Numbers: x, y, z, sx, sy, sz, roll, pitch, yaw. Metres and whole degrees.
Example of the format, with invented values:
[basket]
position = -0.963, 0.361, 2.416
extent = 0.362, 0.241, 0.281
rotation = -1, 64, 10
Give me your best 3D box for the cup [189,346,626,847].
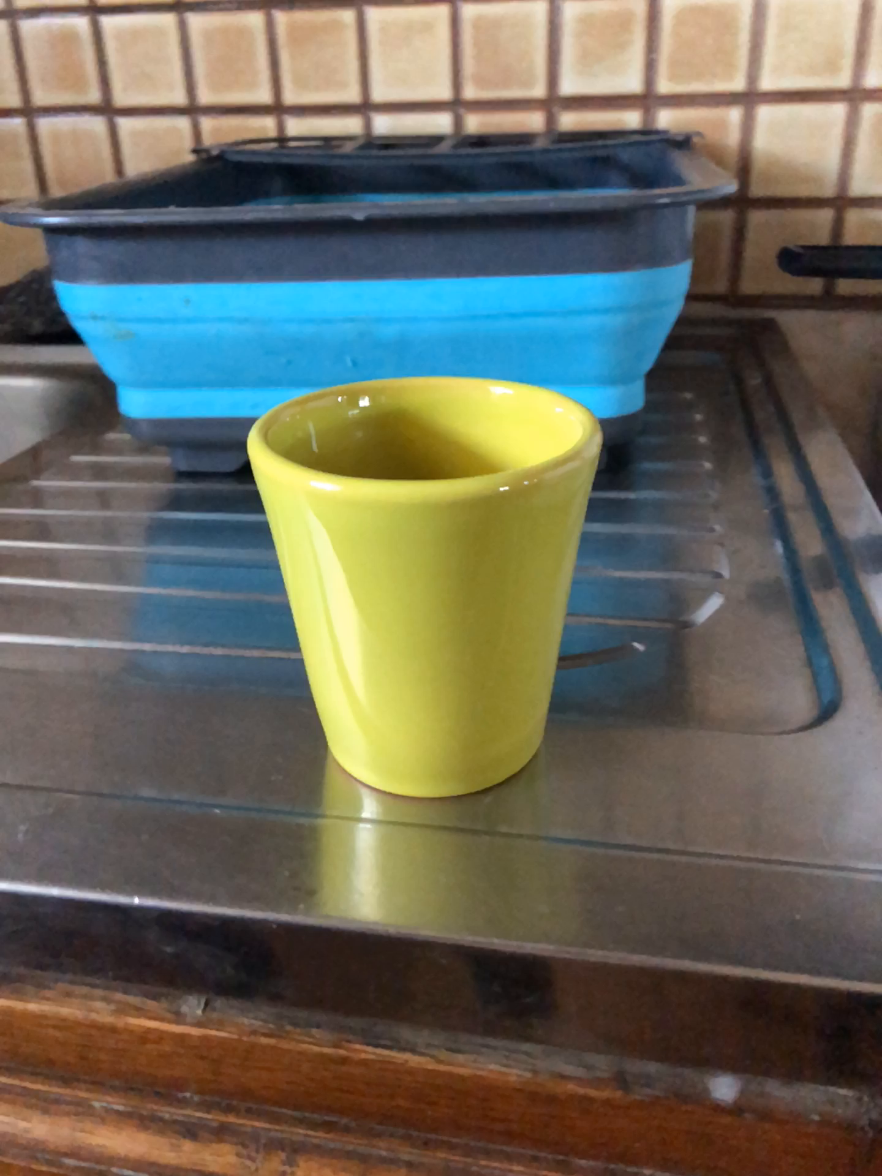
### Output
[cup]
position = -0.001, -0.004, 0.242
extent = 0.080, 0.089, 0.081
rotation = -1, 27, 1
